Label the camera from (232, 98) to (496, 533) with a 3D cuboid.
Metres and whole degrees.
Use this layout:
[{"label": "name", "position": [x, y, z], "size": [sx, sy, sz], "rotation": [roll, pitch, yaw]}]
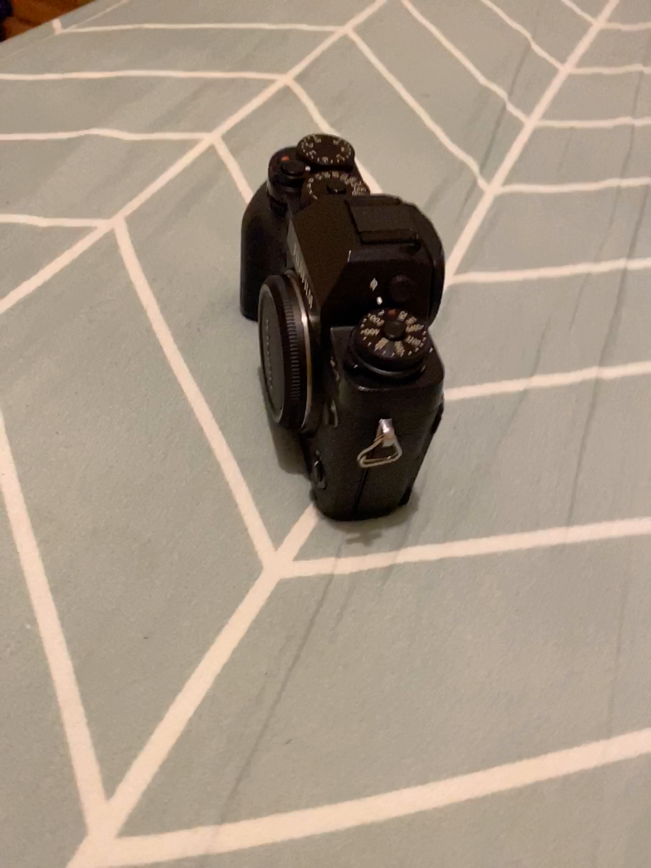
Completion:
[{"label": "camera", "position": [0.001, -0.046, 0.245], "size": [0.051, 0.087, 0.131], "rotation": [-7, 53, -12]}]
